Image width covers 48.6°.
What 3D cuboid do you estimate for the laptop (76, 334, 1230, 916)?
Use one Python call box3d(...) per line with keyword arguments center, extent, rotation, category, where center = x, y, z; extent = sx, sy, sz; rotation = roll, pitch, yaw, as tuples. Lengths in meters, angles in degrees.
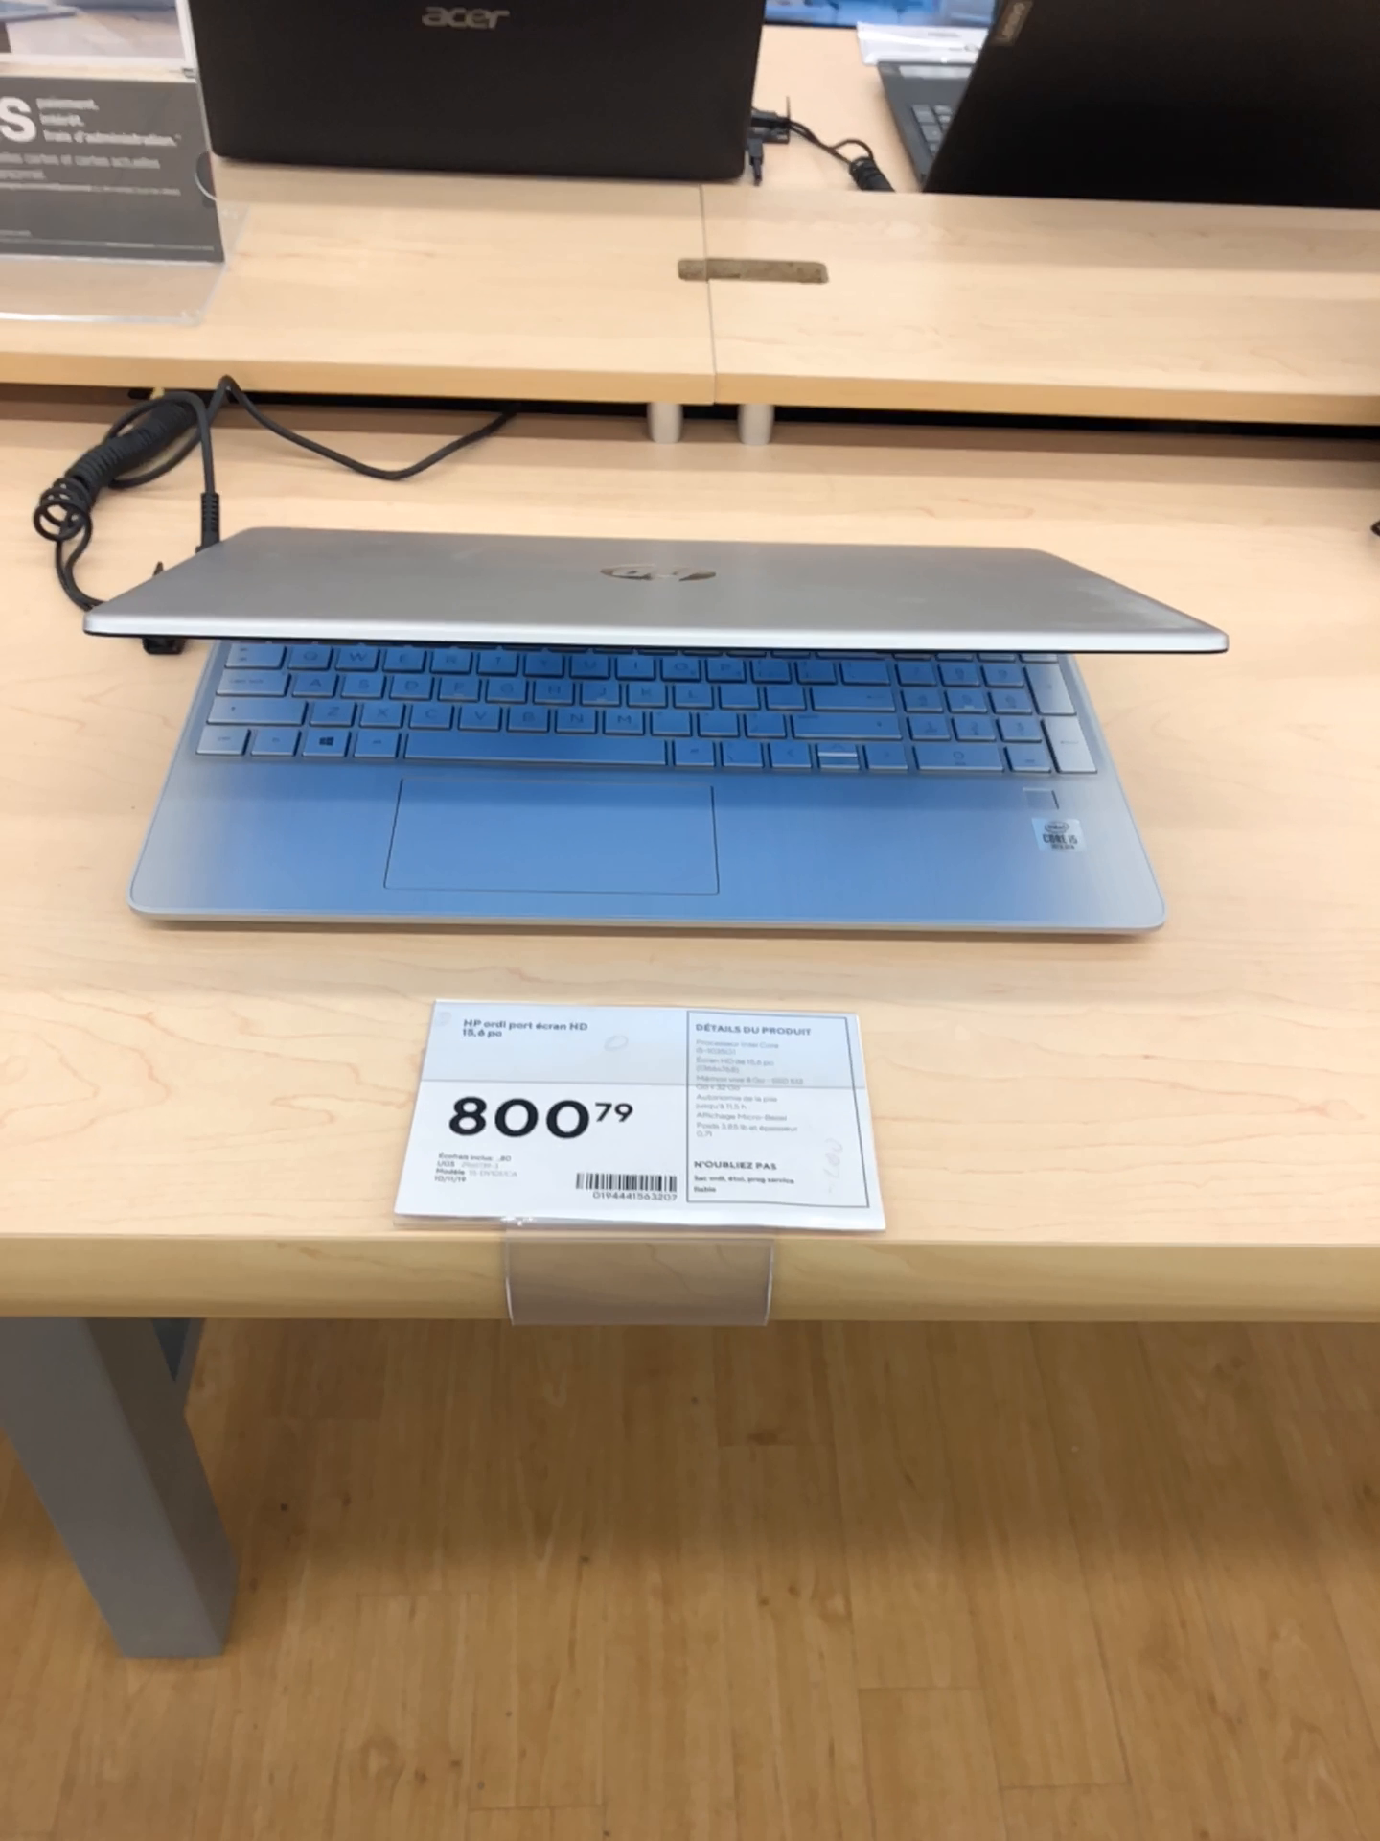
box3d(center=(-0.011, -0.115, 0.557), extent=(0.340, 0.086, 0.225), rotation=(1, 46, -4), category="laptop")
